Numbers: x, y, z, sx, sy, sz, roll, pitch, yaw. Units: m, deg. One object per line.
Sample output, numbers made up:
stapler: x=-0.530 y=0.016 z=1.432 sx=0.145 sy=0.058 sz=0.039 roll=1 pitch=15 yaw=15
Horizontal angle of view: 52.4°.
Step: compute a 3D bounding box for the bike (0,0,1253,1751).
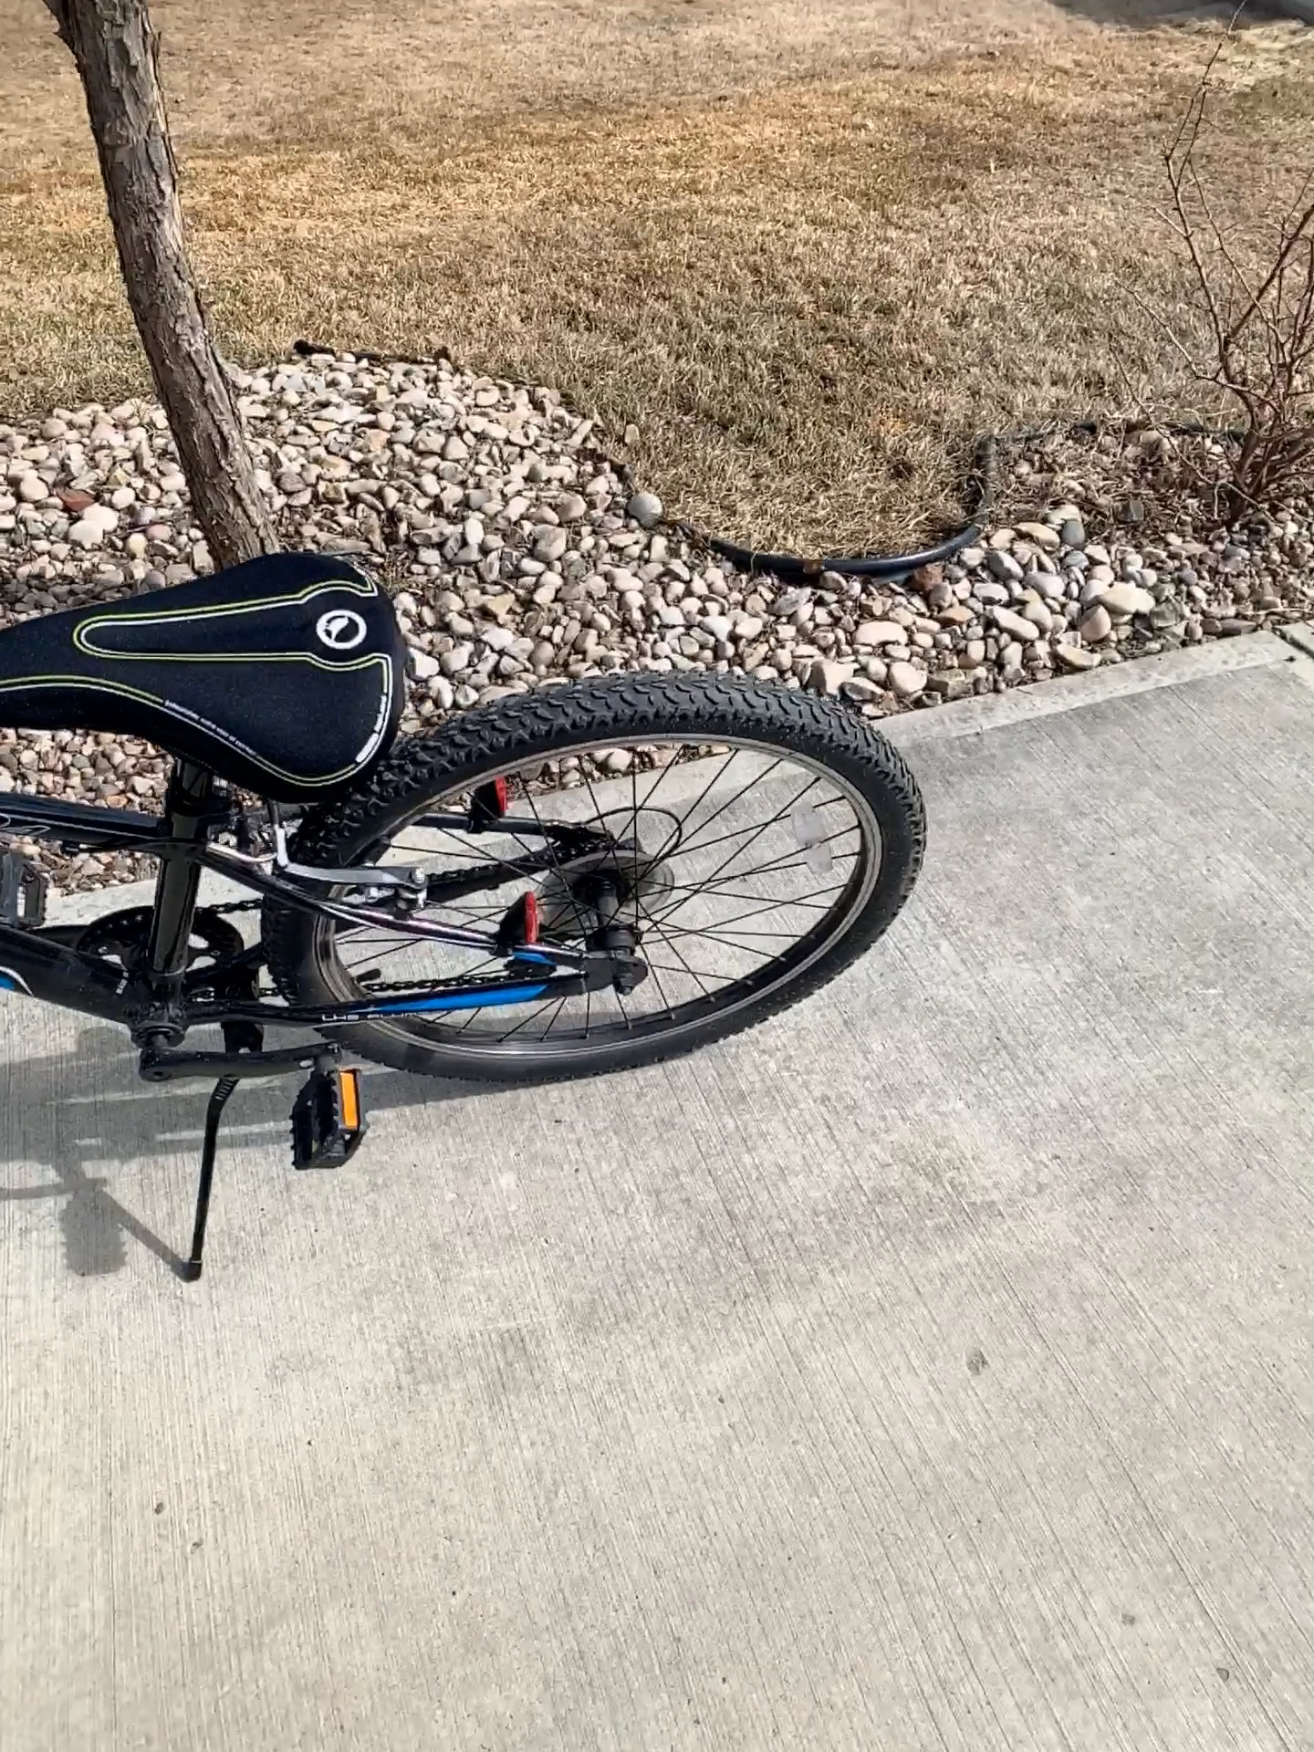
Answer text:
bike: x=-0.460 y=0.109 z=0.908 sx=1.389 sy=0.885 sz=0.517 roll=-17 pitch=45 yaw=-8
